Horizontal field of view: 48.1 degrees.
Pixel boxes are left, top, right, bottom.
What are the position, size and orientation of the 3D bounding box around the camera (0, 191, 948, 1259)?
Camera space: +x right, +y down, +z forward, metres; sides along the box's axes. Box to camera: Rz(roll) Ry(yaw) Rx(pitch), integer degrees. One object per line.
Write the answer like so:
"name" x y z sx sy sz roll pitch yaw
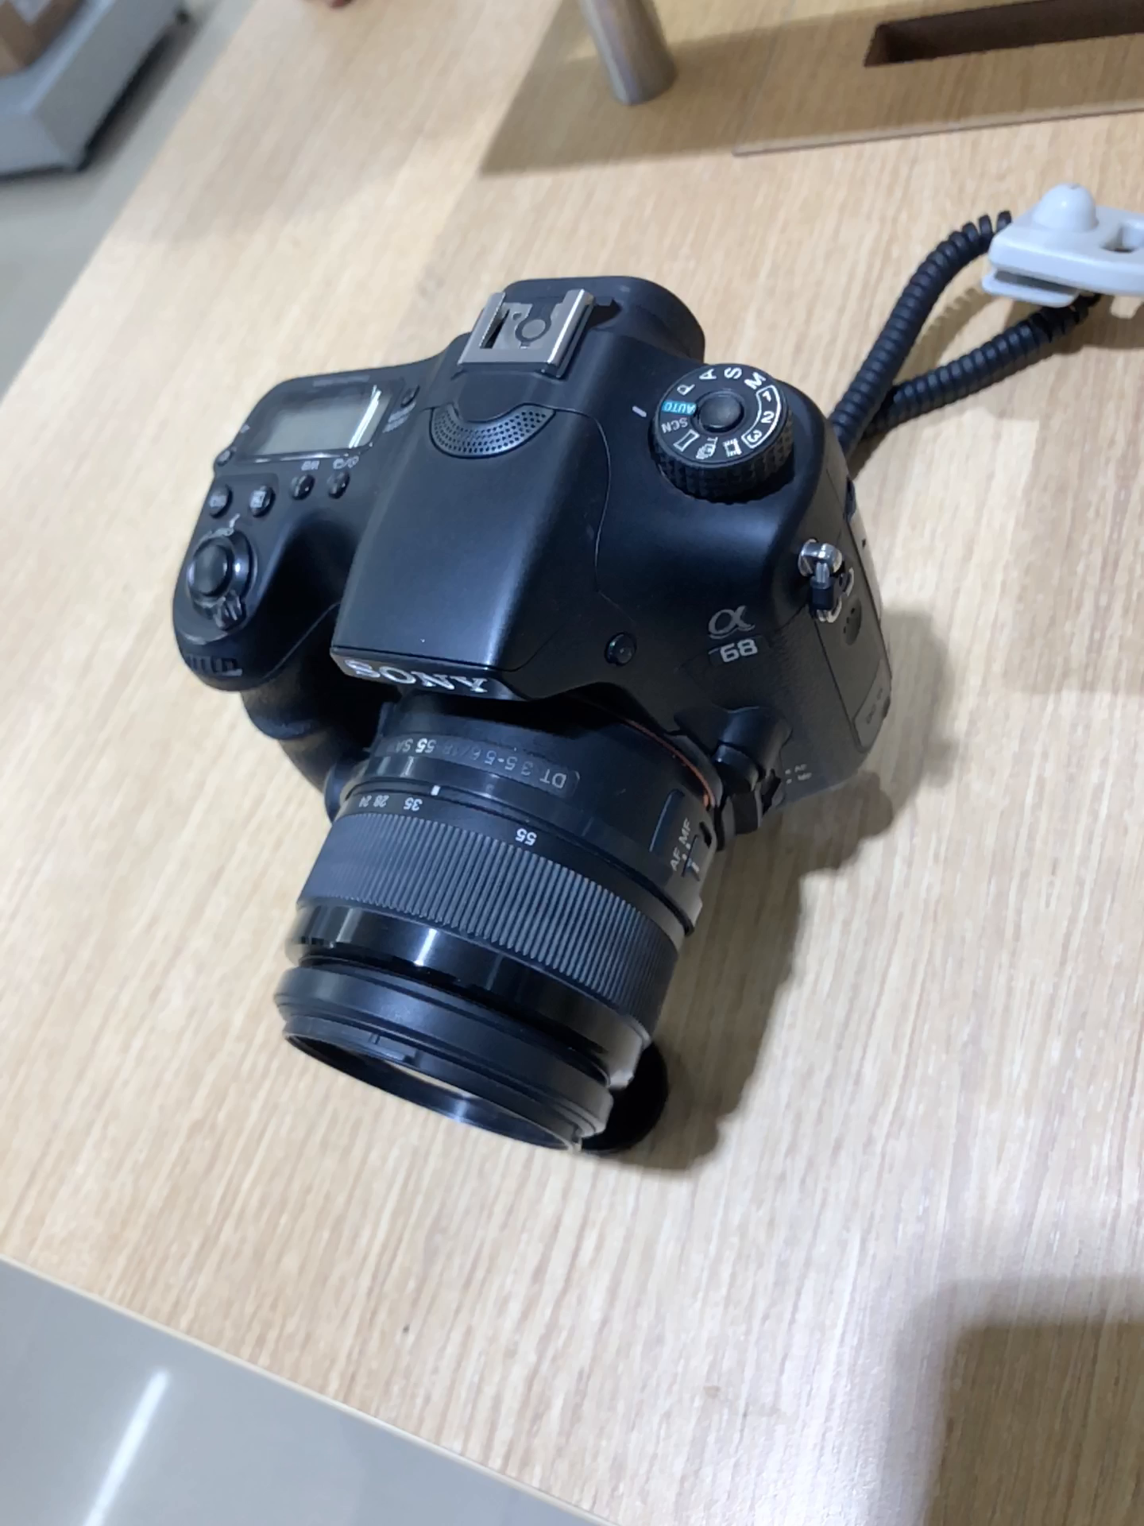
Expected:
"camera" -0.027 -0.011 0.216 0.140 0.080 0.130 8 64 29
